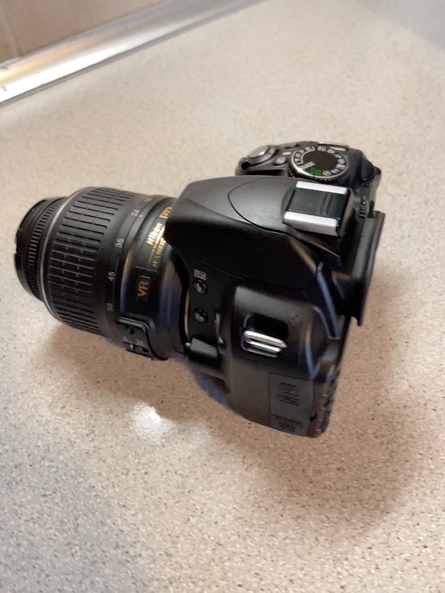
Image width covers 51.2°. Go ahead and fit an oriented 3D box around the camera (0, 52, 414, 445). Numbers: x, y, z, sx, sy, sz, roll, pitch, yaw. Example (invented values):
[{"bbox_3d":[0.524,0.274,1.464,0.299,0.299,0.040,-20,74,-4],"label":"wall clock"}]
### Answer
[{"bbox_3d":[-0.021,-0.032,0.217,0.177,0.092,0.122,13,55,16],"label":"camera"}]
